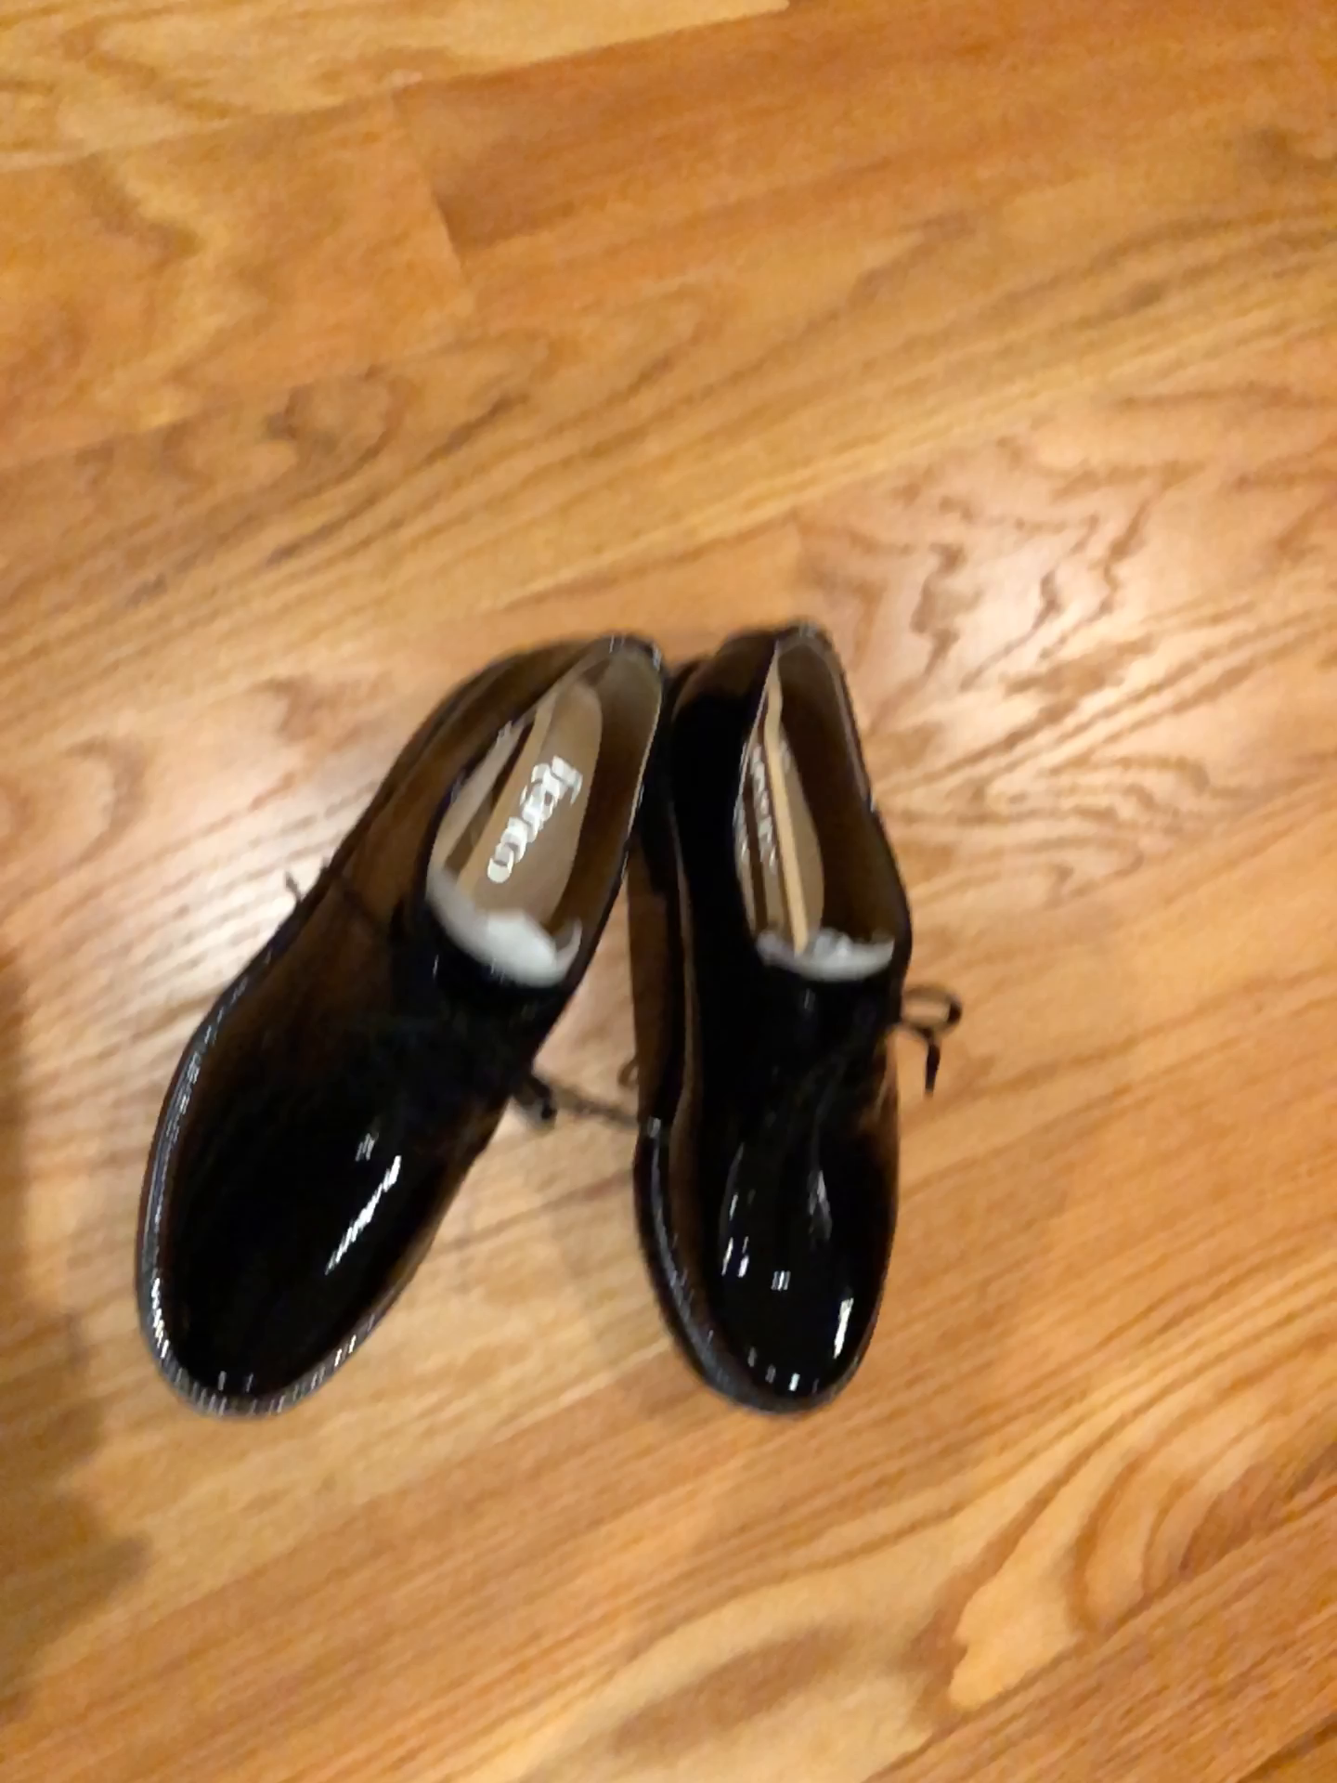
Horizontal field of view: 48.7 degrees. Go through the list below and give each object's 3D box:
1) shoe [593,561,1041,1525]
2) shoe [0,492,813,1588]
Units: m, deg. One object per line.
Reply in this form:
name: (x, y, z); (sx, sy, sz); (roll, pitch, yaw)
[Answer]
shoe: (0.039, 0.040, 0.449); (0.095, 0.102, 0.251); (-1, 88, -18)
shoe: (-0.076, 0.034, 0.407); (0.095, 0.102, 0.251); (32, 78, -14)
